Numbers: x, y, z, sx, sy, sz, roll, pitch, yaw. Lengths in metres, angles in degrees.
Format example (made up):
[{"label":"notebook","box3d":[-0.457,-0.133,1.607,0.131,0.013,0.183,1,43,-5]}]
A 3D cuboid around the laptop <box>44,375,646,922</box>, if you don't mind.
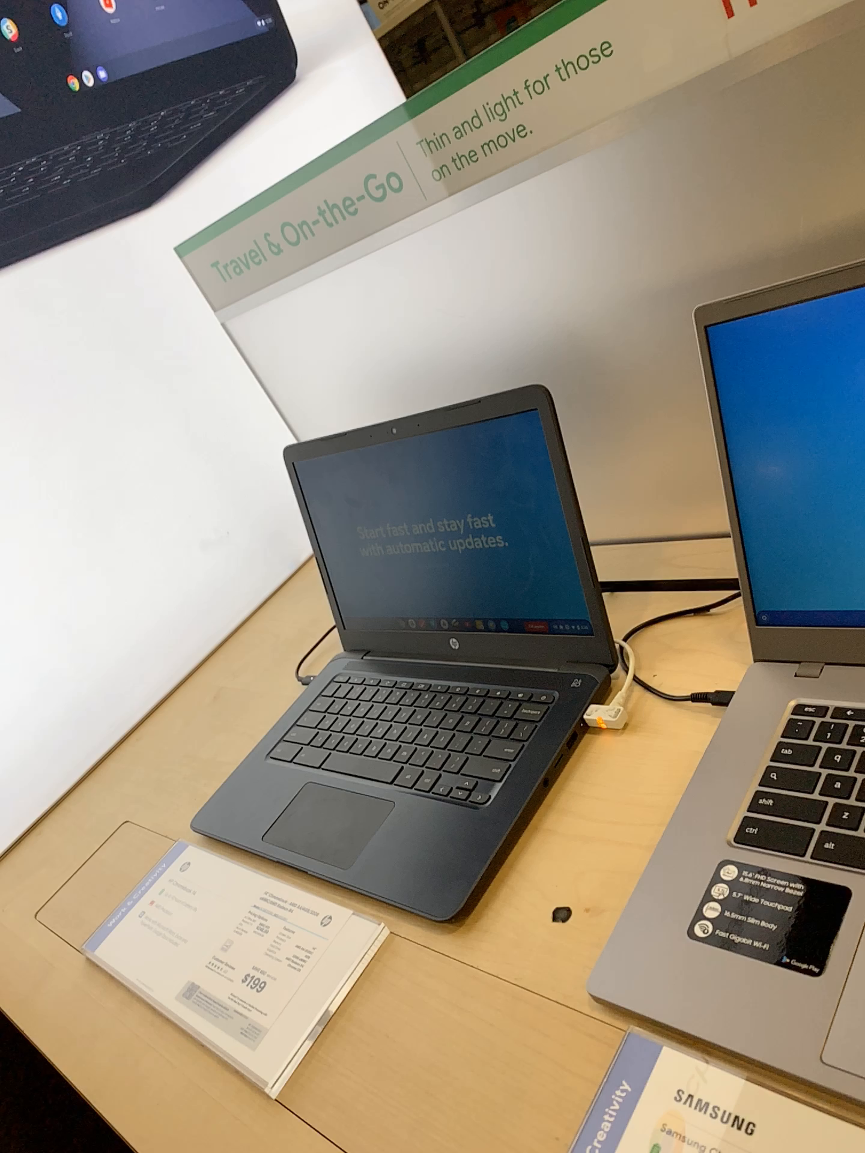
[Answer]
[{"label":"laptop","box3d":[-0.069,0.042,0.687,0.320,0.198,0.292,-4,37,49]}]
